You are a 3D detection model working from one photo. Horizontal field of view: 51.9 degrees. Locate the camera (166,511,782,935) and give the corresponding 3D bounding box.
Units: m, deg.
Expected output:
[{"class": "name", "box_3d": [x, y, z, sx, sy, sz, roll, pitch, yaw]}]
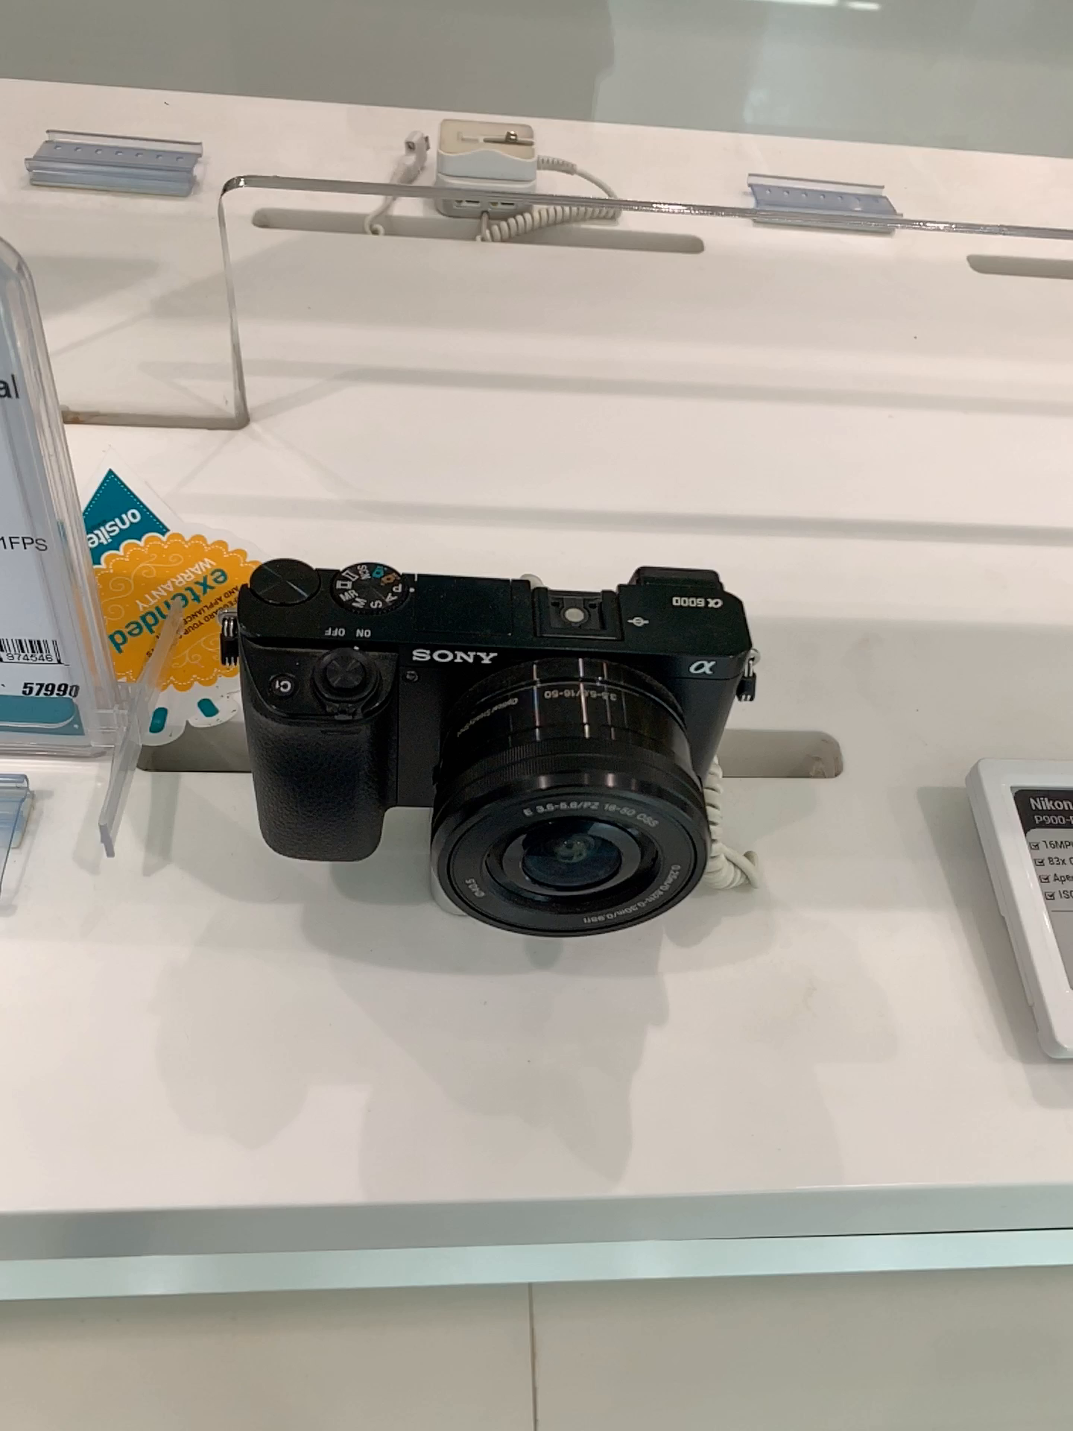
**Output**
[{"class": "camera", "box_3d": [-0.013, 0.004, 0.229, 0.104, 0.063, 0.058, 2, 51, -6]}]
